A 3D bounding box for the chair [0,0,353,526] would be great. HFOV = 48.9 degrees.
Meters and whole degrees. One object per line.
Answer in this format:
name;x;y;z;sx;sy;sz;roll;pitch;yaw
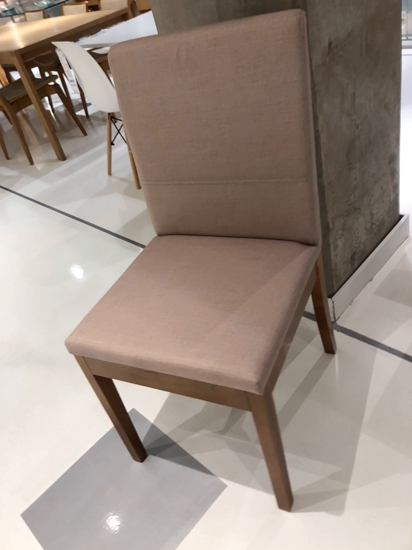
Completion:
chair;-0.024;0.002;1.046;0.561;0.933;0.543;6;42;28
